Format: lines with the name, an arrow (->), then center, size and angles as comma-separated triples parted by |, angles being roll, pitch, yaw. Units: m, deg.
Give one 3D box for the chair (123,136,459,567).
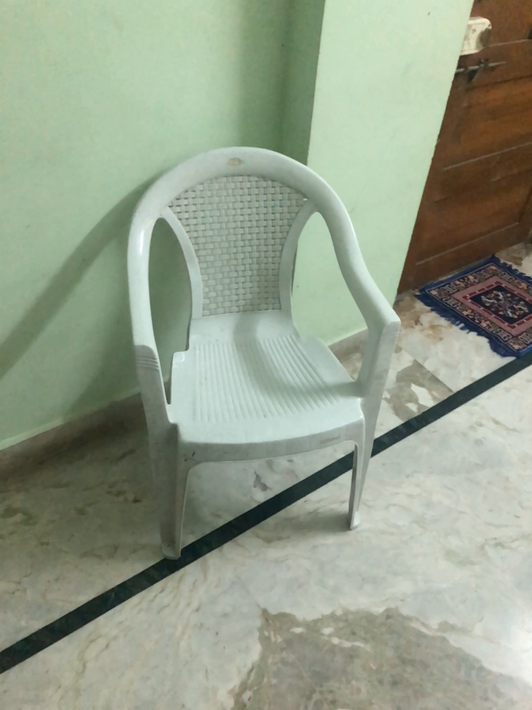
chair -> -0.020, 0.003, 1.364 | 0.530, 0.825, 0.533 | -4, 42, -10
